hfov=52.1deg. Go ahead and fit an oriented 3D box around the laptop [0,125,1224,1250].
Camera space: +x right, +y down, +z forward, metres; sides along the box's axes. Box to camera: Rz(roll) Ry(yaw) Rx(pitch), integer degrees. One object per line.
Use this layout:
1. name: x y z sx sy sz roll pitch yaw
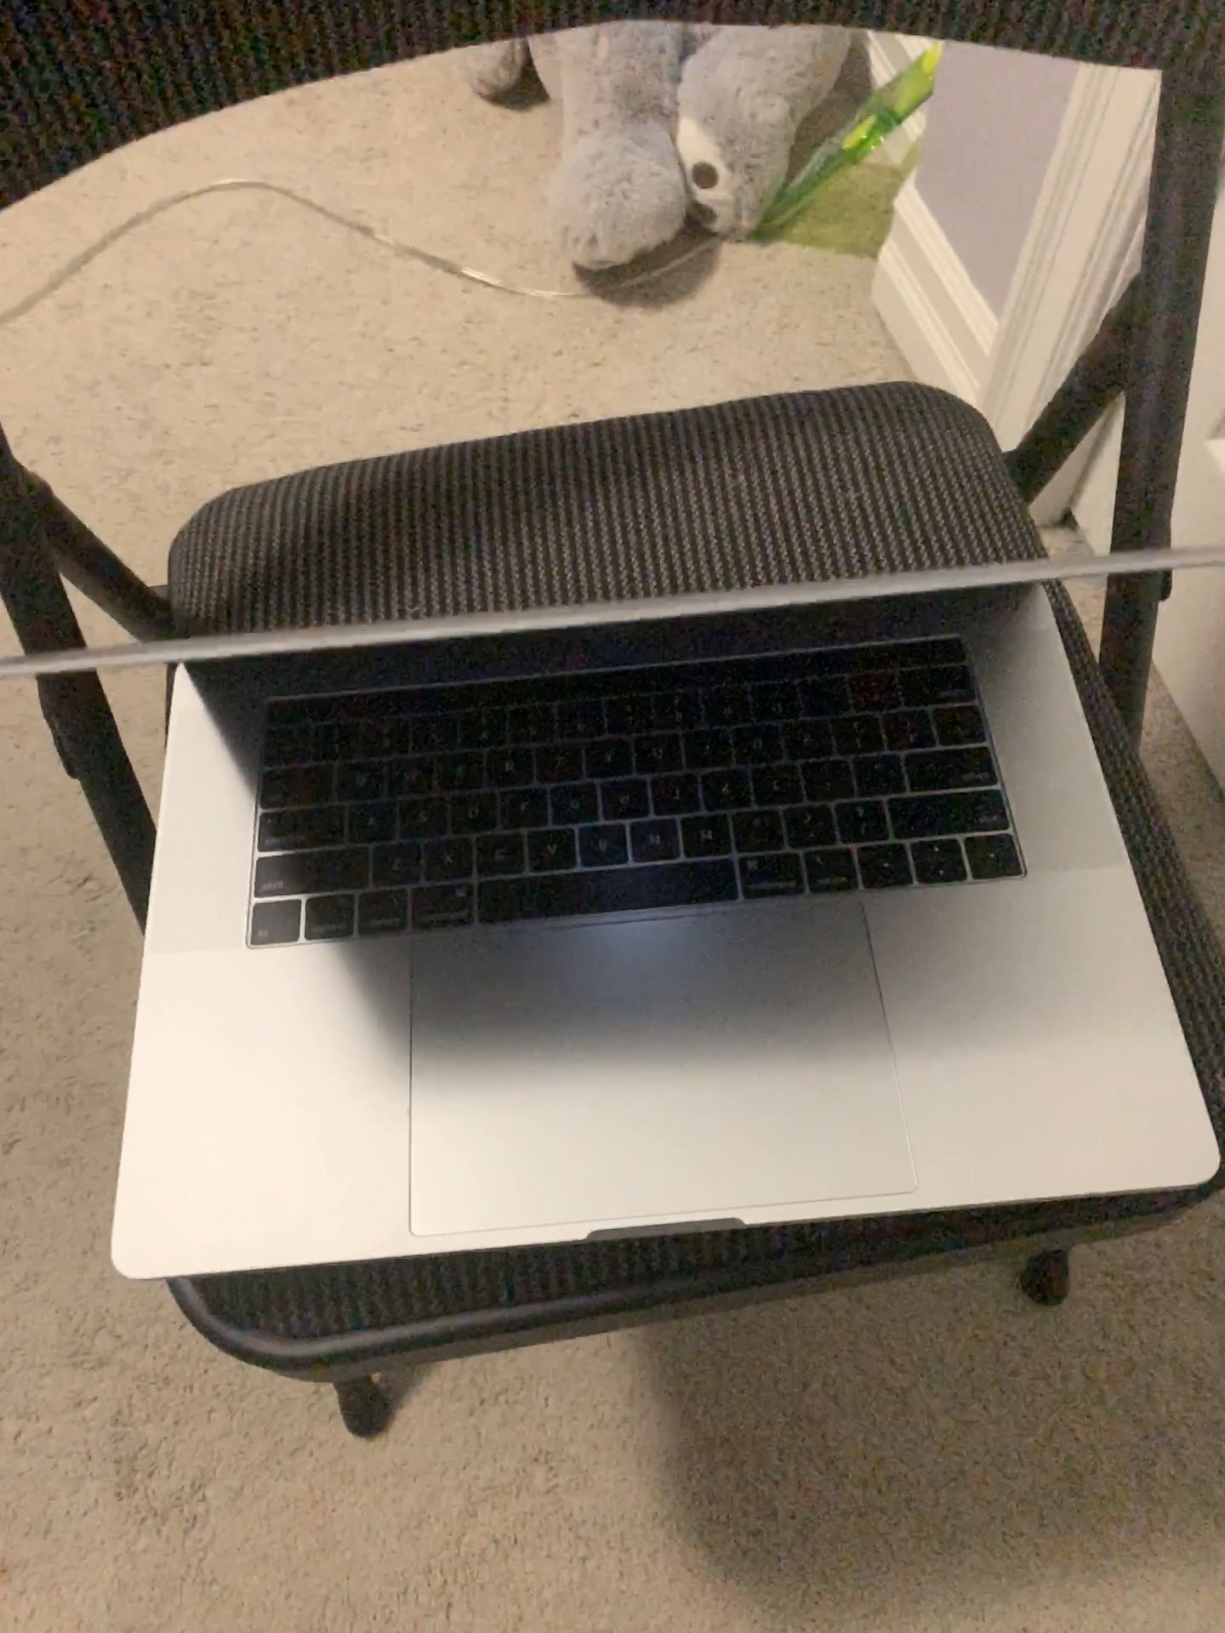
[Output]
1. laptop: 0.010 -0.022 0.358 0.334 0.189 0.231 -5 63 1
